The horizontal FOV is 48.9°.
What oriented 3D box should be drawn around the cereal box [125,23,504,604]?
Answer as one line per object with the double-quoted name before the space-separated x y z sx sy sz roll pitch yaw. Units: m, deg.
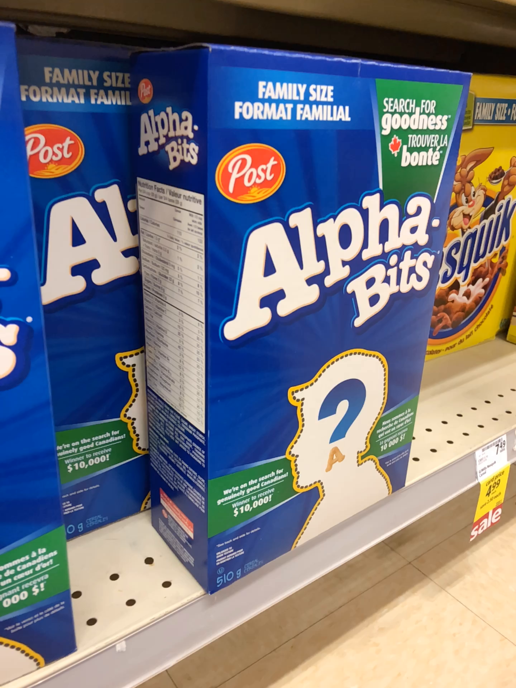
"cereal box" 0.036 -0.022 0.367 0.210 0.298 0.080 -15 27 -36
